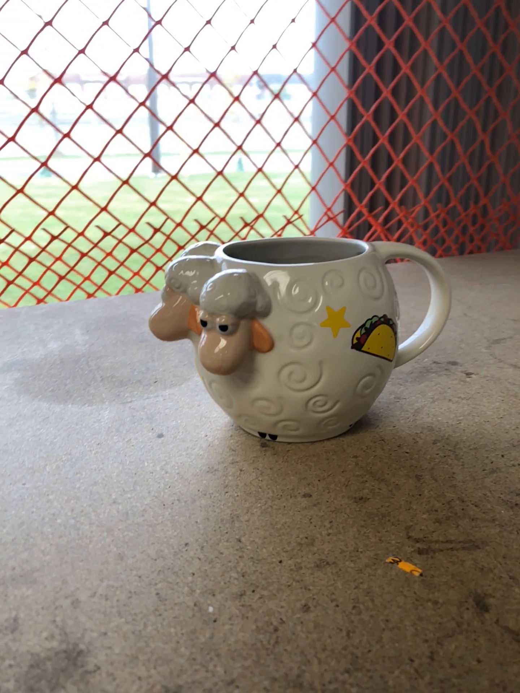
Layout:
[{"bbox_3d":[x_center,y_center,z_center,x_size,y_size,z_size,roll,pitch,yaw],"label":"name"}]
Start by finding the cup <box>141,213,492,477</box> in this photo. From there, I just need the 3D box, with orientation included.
[{"bbox_3d":[0.025,-0.010,0.289,0.146,0.090,0.076,-9,22,-20],"label":"cup"}]
